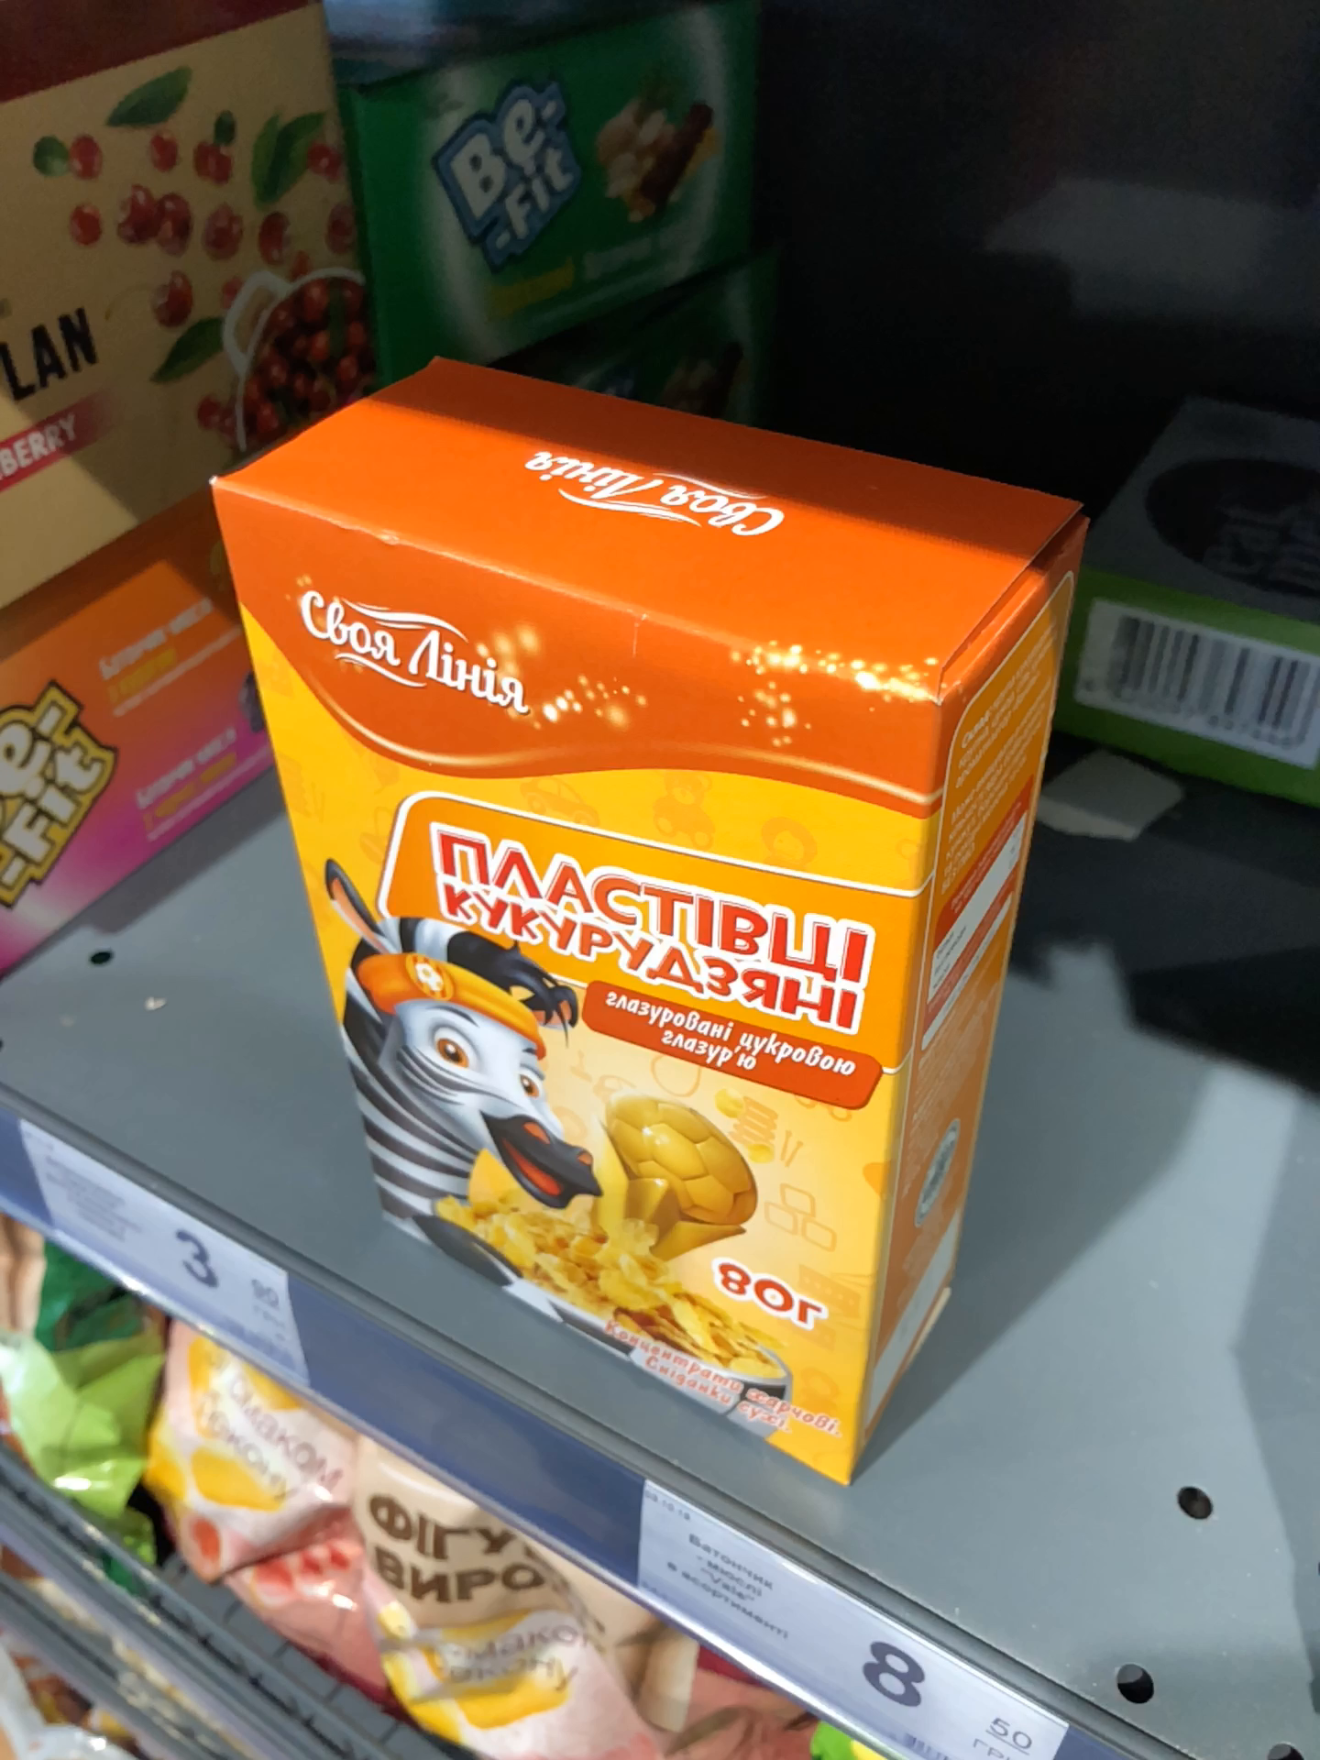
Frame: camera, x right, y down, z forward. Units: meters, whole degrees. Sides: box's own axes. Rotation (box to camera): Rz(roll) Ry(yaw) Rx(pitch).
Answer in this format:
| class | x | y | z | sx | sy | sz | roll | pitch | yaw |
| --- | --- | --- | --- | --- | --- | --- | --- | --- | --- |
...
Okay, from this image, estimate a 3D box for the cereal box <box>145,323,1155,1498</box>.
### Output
| class | x | y | z | sx | sy | sz | roll | pitch | yaw |
| --- | --- | --- | --- | --- | --- | --- | --- | --- | --- |
| cereal box | -0.003 | 0.009 | 0.239 | 0.120 | 0.159 | 0.050 | 22 | 46 | 25 |
